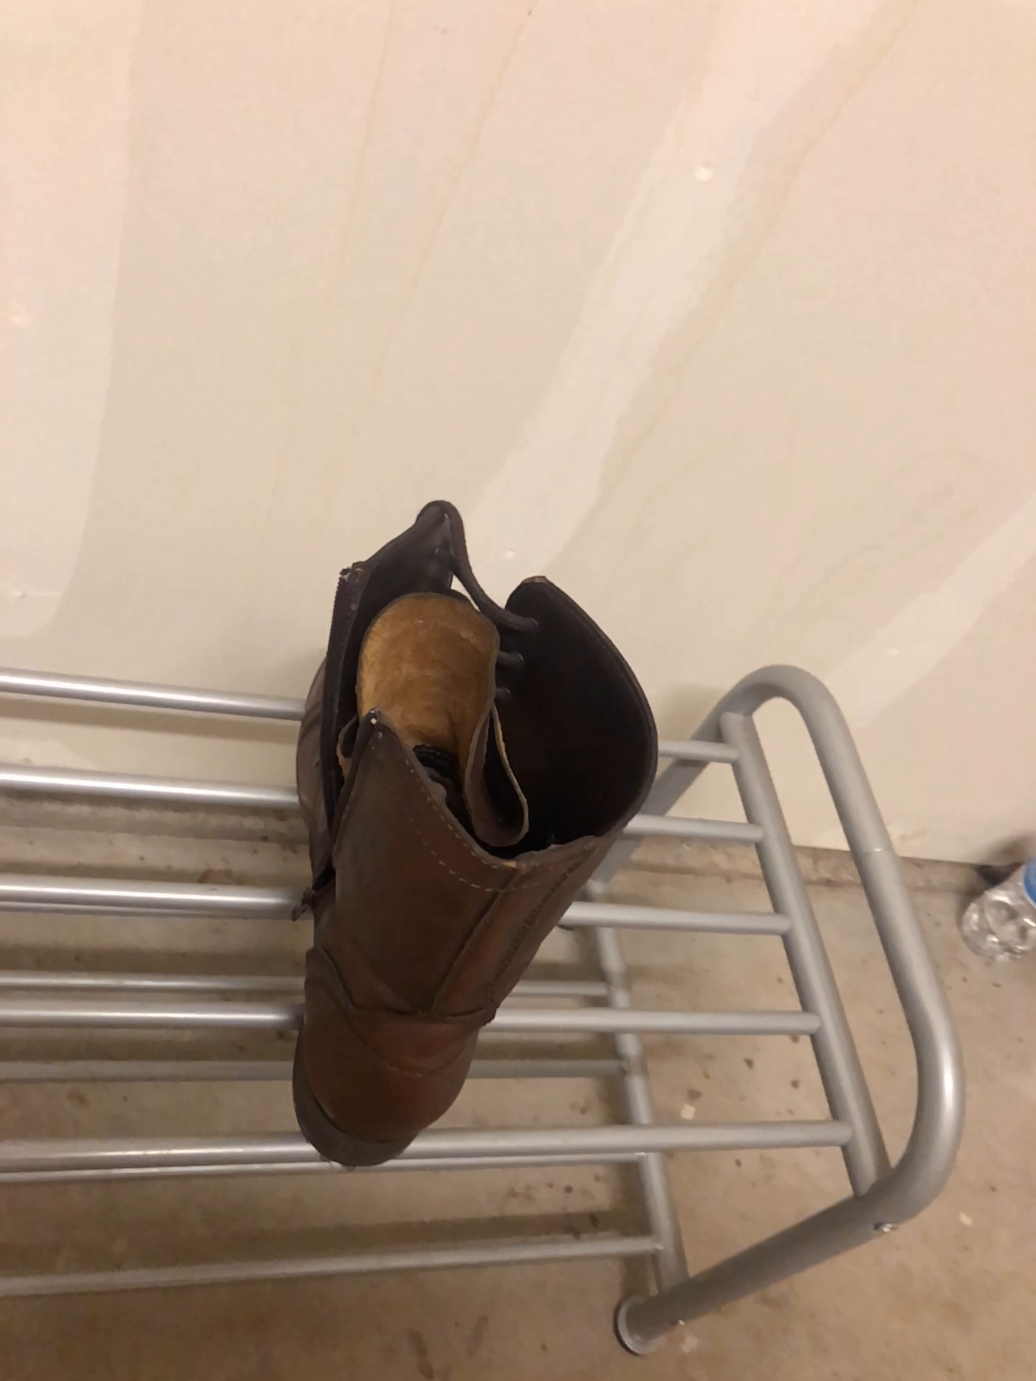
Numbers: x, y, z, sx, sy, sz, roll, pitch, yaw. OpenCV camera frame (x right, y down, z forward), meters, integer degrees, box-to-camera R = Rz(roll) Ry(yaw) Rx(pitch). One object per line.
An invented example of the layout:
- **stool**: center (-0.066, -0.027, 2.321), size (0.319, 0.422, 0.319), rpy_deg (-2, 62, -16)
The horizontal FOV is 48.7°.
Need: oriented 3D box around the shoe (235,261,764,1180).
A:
- **shoe**: center (-0.031, 0.018, 0.480), size (0.122, 0.238, 0.288), rpy_deg (8, 50, -15)
